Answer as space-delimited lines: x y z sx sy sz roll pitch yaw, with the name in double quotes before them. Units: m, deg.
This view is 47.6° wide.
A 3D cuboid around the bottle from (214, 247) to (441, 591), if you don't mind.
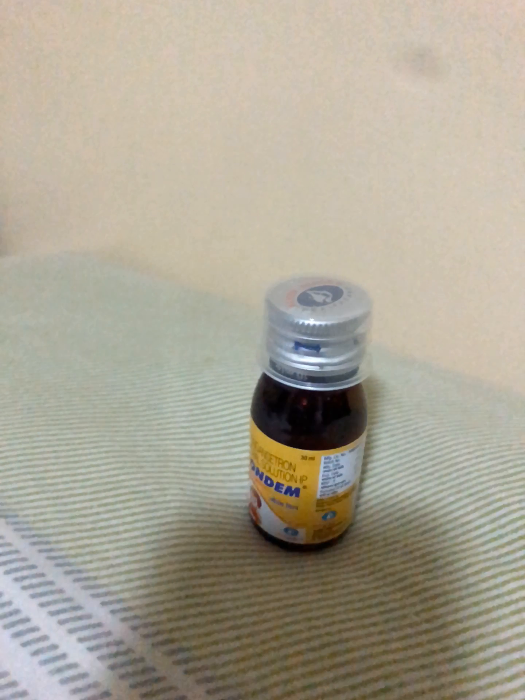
"bottle" 0.015 0.019 0.170 0.040 0.080 0.040 2 31 -1
